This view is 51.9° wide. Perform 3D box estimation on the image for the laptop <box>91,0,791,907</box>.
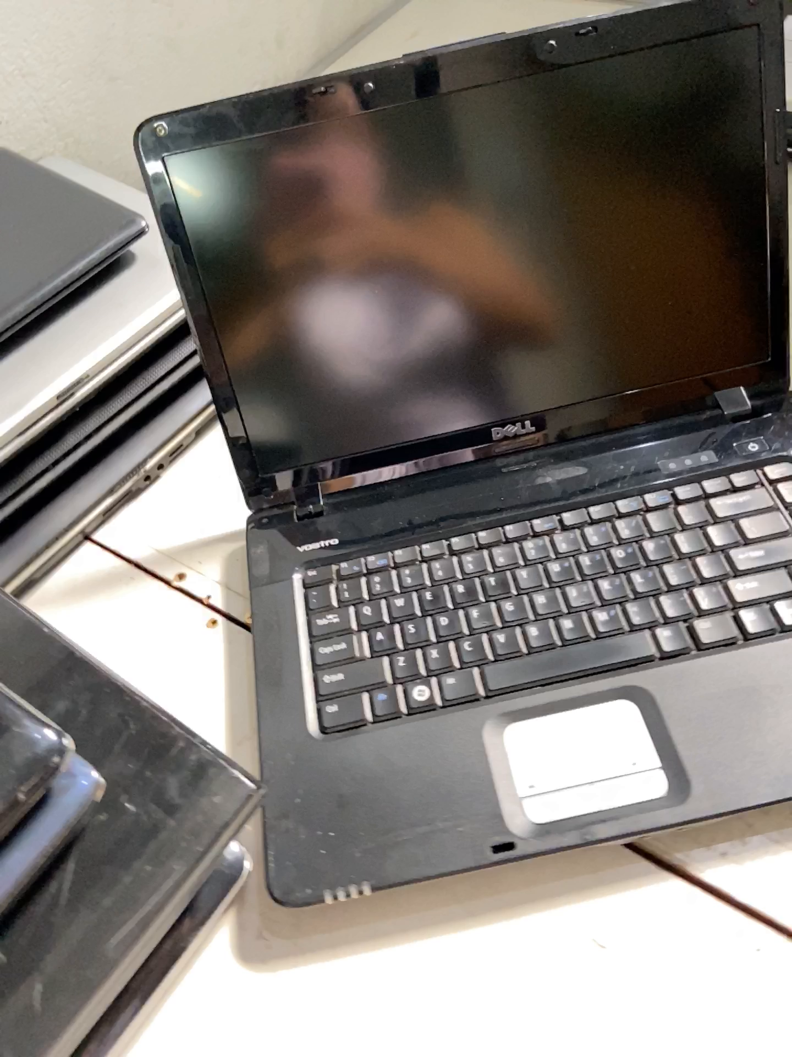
[{"bbox_3d":[0.080,-0.058,0.418,0.364,0.203,0.354,-13,50,0],"label":"laptop"}]
